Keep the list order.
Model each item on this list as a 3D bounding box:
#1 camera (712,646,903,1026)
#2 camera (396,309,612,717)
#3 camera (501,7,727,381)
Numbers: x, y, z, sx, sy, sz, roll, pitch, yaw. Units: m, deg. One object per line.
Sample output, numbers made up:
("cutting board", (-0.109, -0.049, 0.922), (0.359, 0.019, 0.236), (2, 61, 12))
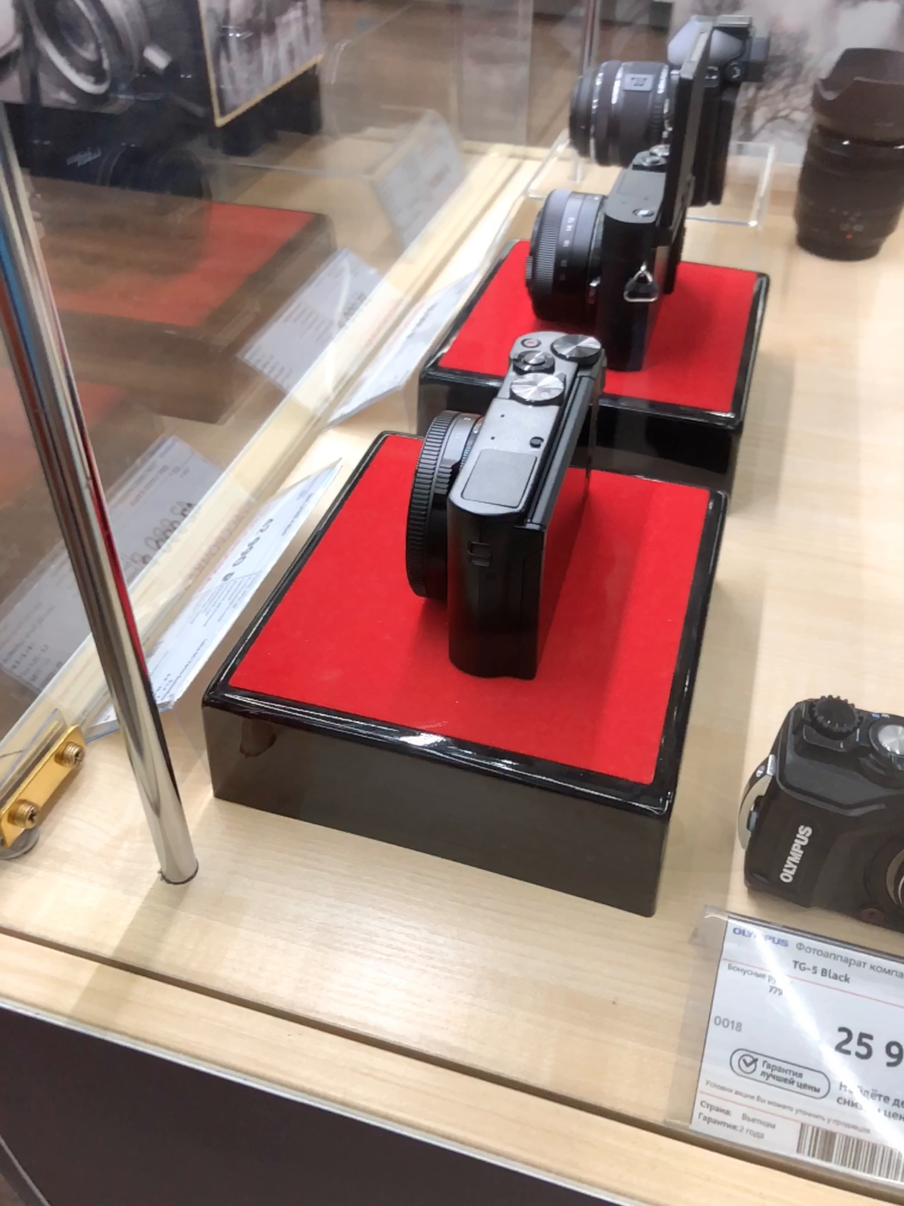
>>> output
("camera", (0.133, 0.061, 0.263), (0.110, 0.072, 0.033), (13, 43, 14))
("camera", (0.019, -0.032, 0.310), (0.040, 0.070, 0.111), (10, 42, 10))
("camera", (0.068, -0.175, 0.426), (0.066, 0.112, 0.111), (11, 42, 12))
